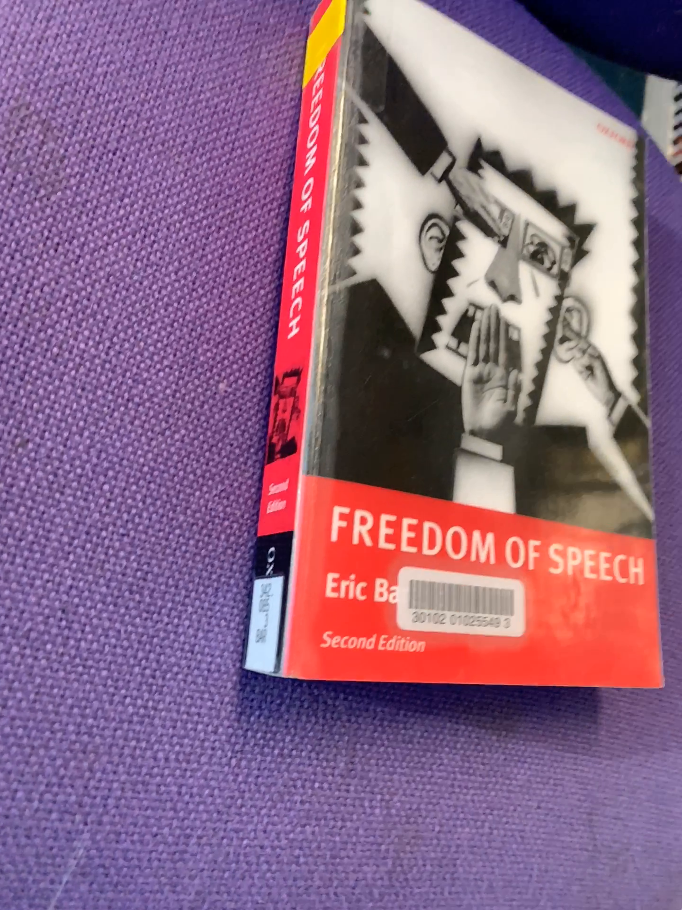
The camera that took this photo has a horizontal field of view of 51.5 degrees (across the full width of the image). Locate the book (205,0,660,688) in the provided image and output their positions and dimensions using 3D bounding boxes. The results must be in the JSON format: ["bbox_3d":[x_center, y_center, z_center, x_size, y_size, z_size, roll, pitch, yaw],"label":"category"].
[{"bbox_3d":[0.045,-0.044,0.274,0.160,0.050,0.251,13,73,-31],"label":"book"}]
